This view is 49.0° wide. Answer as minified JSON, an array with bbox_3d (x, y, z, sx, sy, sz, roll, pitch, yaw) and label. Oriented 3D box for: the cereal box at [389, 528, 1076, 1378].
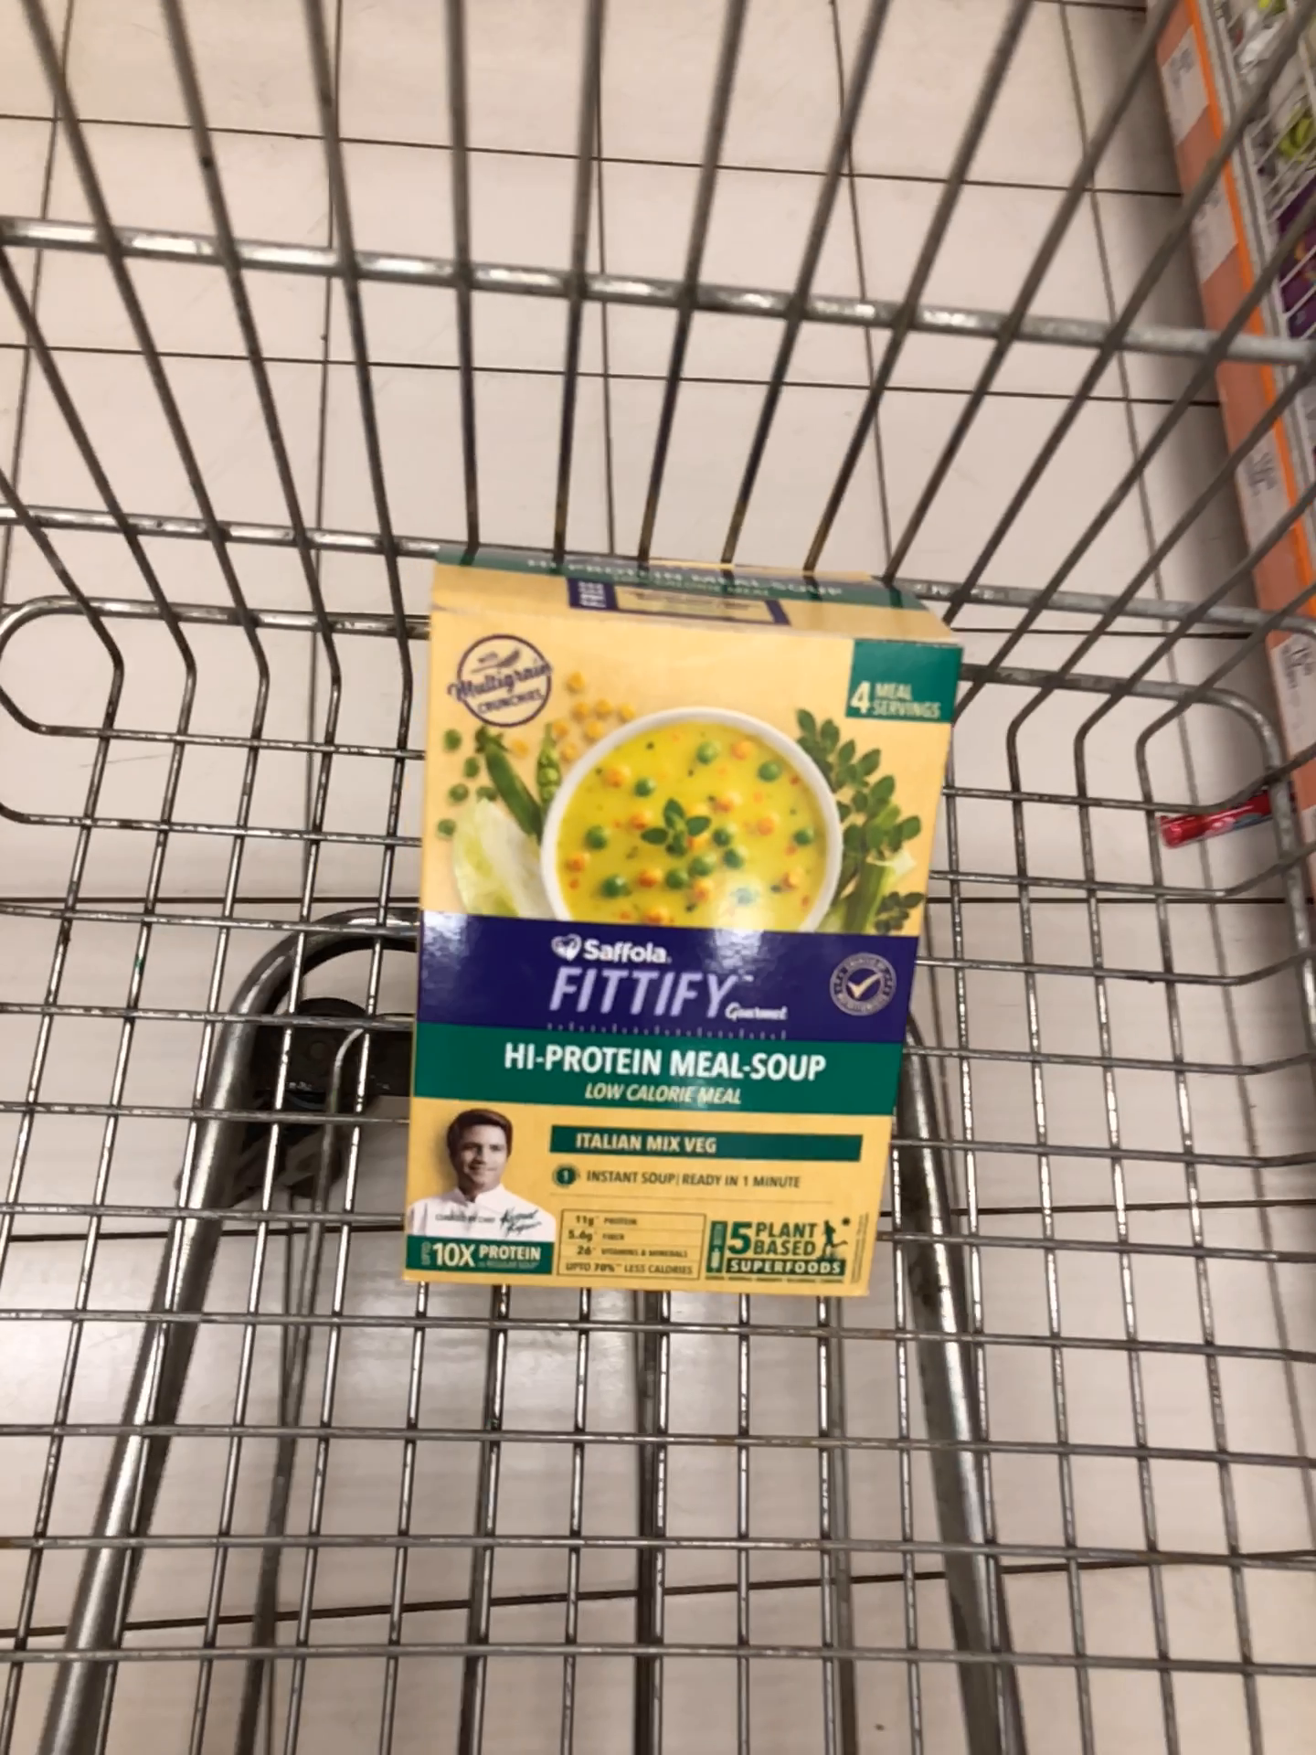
[{"bbox_3d":[0.008,0.015,0.353,0.130,0.090,0.180,4,107,-6],"label":"cereal box"}]
